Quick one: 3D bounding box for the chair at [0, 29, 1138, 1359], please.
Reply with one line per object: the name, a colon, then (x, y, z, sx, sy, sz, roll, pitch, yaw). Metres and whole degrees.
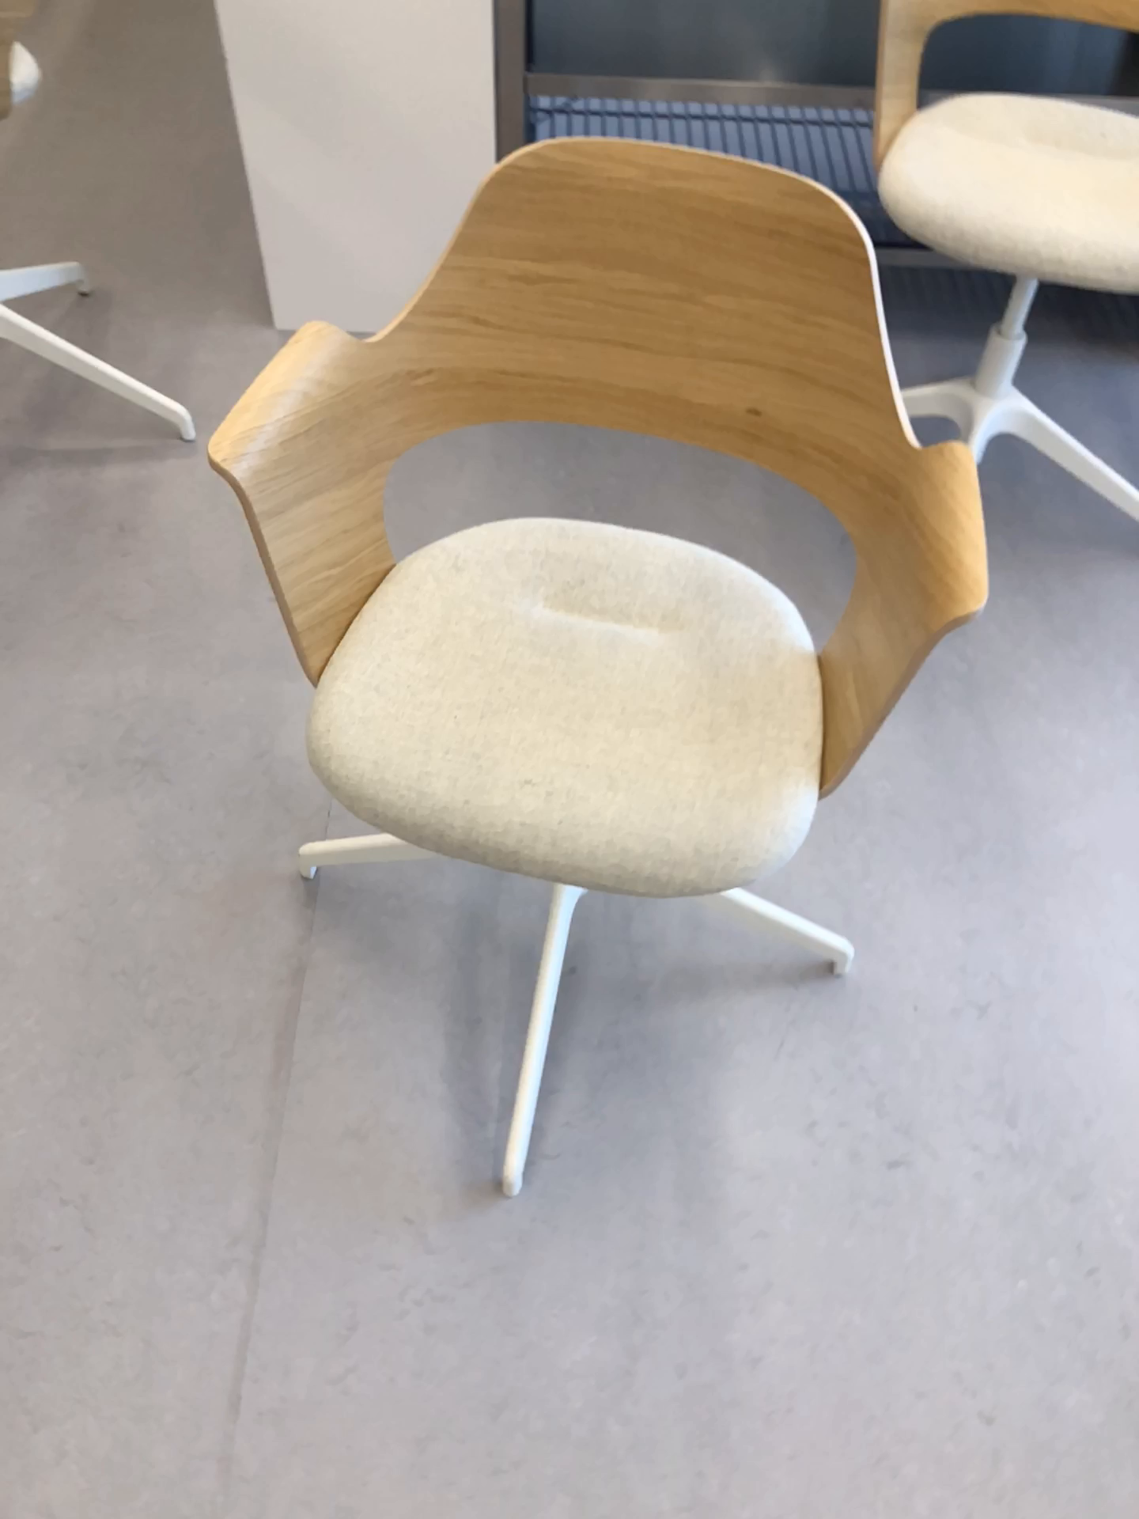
chair: (0.004, -0.035, 1.121, 0.711, 0.775, 0.663, 20, 55, 13)
